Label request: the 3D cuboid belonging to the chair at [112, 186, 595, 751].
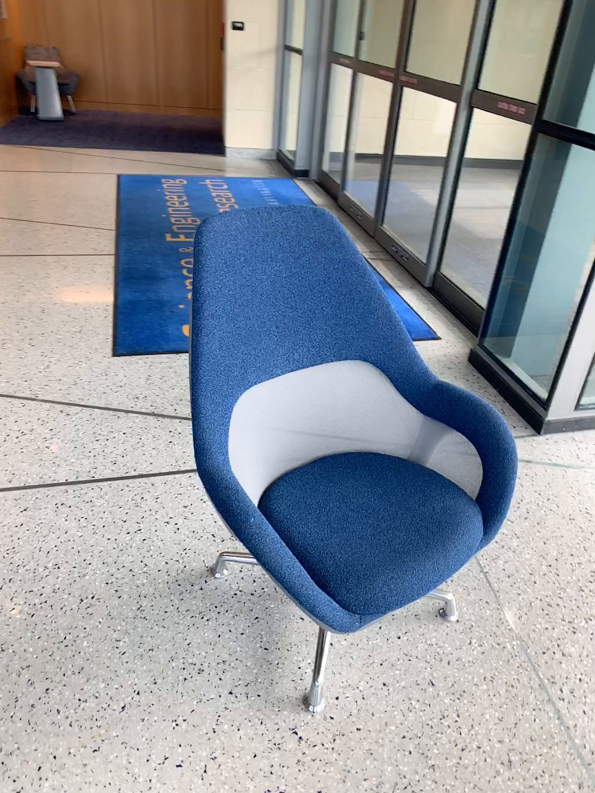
[{"bbox_3d":[0.081,0.079,1.509,0.726,0.933,0.788,-18,38,-32],"label":"chair"}]
